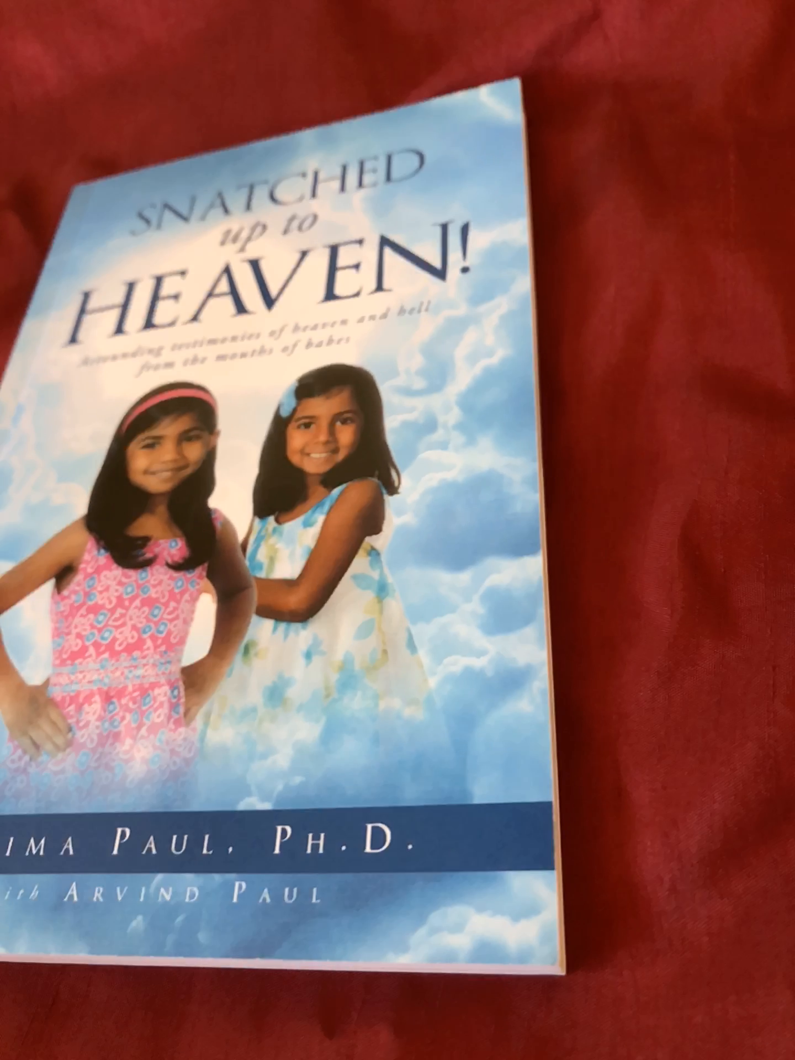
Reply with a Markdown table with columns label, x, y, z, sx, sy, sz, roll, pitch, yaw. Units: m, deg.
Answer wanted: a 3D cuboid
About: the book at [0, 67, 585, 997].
| label | x | y | z | sx | sy | sz | roll | pitch | yaw |
| --- | --- | --- | --- | --- | --- | --- | --- | --- | --- |
| book | -0.035 | -0.016 | 0.205 | 0.140 | 0.020 | 0.212 | -6 | 58 | 16 |
